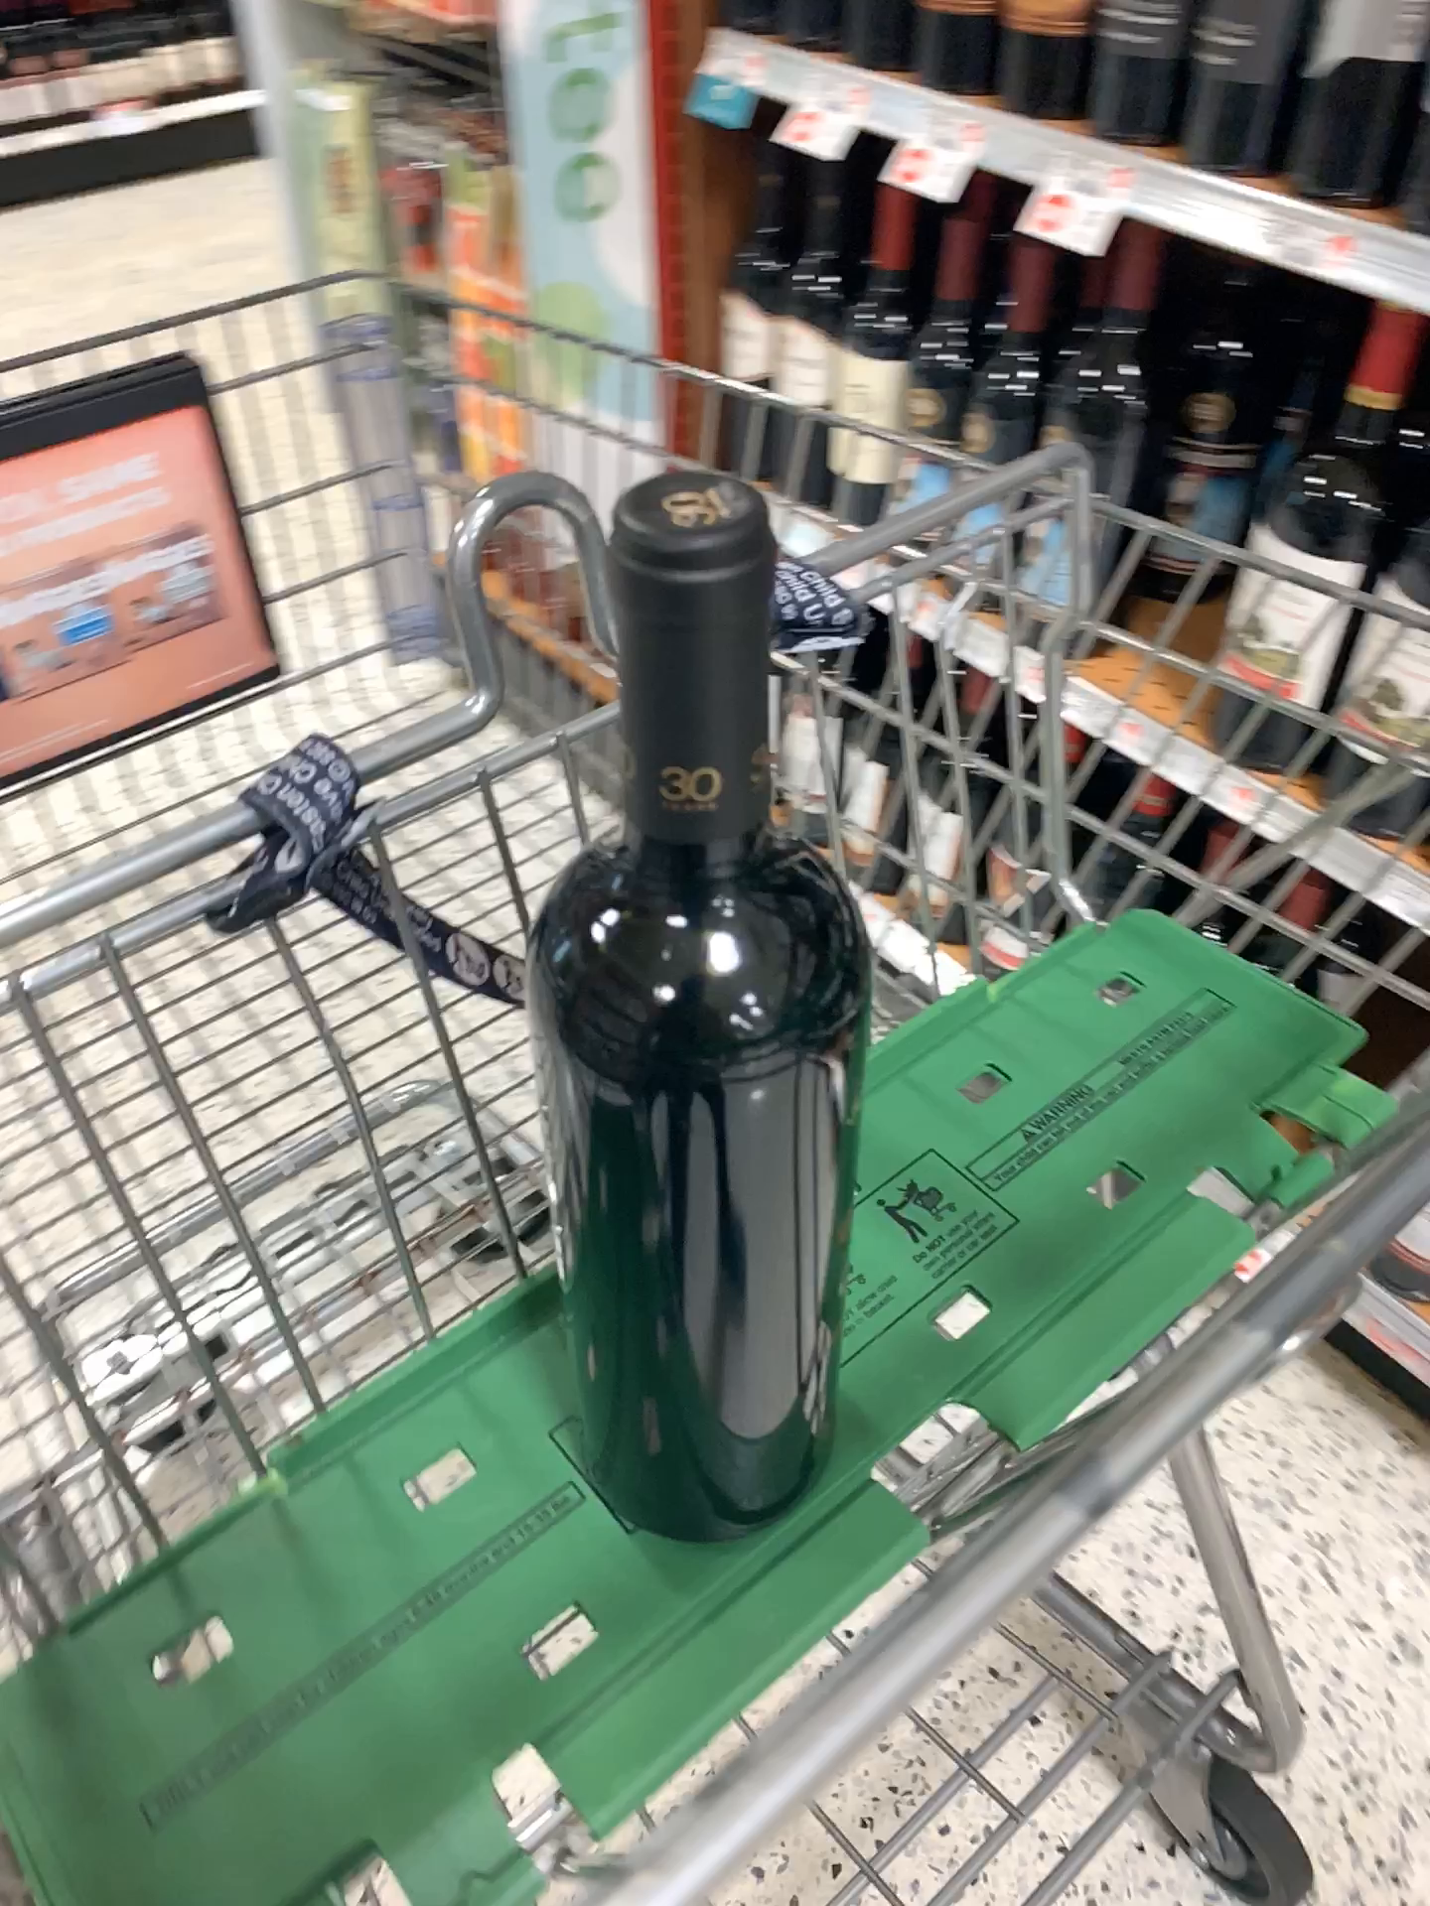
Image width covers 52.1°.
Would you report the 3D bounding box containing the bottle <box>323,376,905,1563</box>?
[{"bbox_3d":[-0.010,0.031,0.344,0.080,0.297,0.081,-1,43,1],"label":"bottle"}]
